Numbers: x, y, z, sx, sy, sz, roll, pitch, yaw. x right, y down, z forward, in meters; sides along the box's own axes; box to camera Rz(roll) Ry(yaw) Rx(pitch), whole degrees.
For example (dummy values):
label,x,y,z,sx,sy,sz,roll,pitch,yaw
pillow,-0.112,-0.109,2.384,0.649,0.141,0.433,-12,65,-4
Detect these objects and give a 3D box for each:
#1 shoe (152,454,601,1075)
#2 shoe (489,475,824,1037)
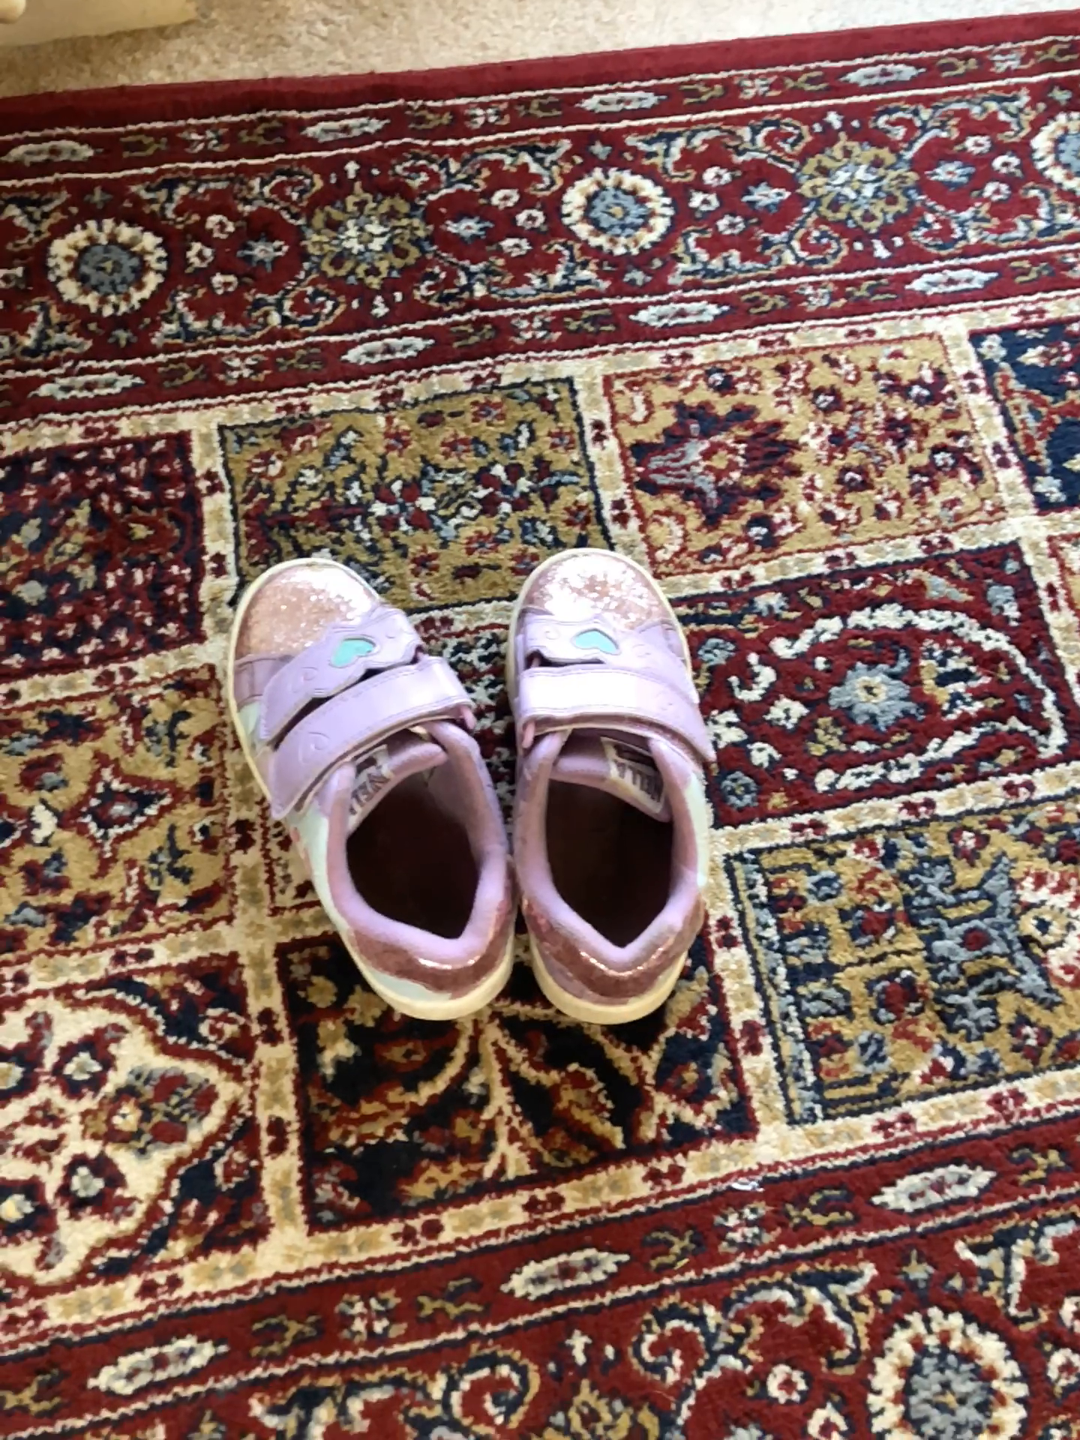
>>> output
label,x,y,z,sx,sy,sz,roll,pitch,yaw
shoe,-0.065,0.018,0.468,0.090,0.090,0.209,-22,72,-11
shoe,0.036,0.015,0.472,0.100,0.090,0.201,-2,70,-5
